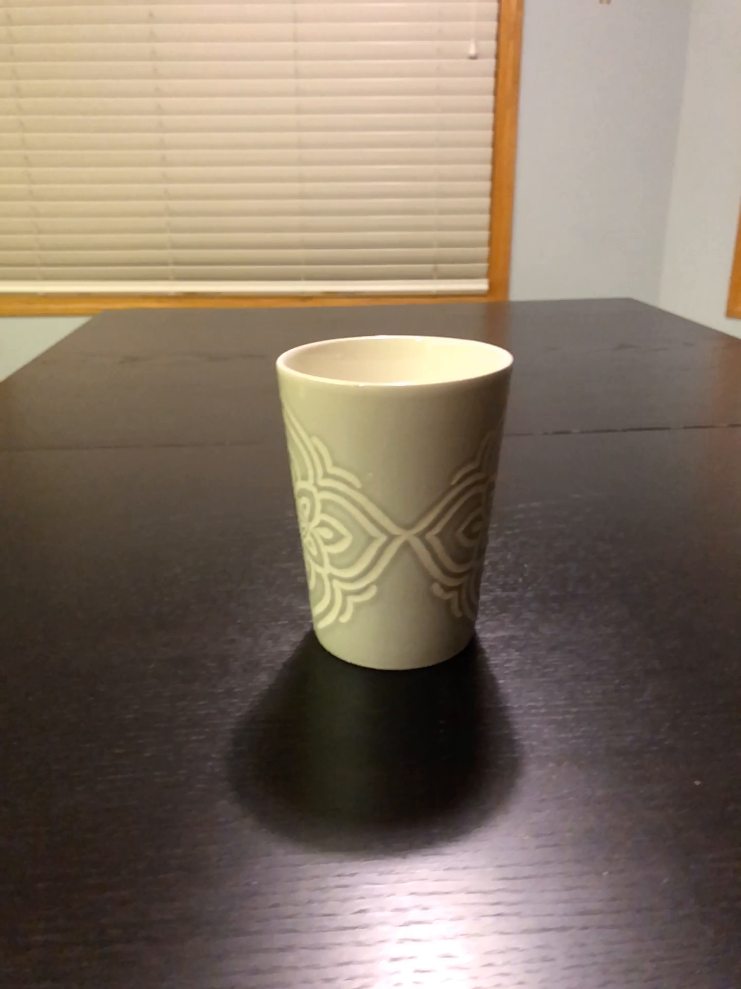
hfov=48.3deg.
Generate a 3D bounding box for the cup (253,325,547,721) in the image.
[{"bbox_3d":[0.006,0.002,0.362,0.100,0.129,0.131,-2,20,-4],"label":"cup"}]
